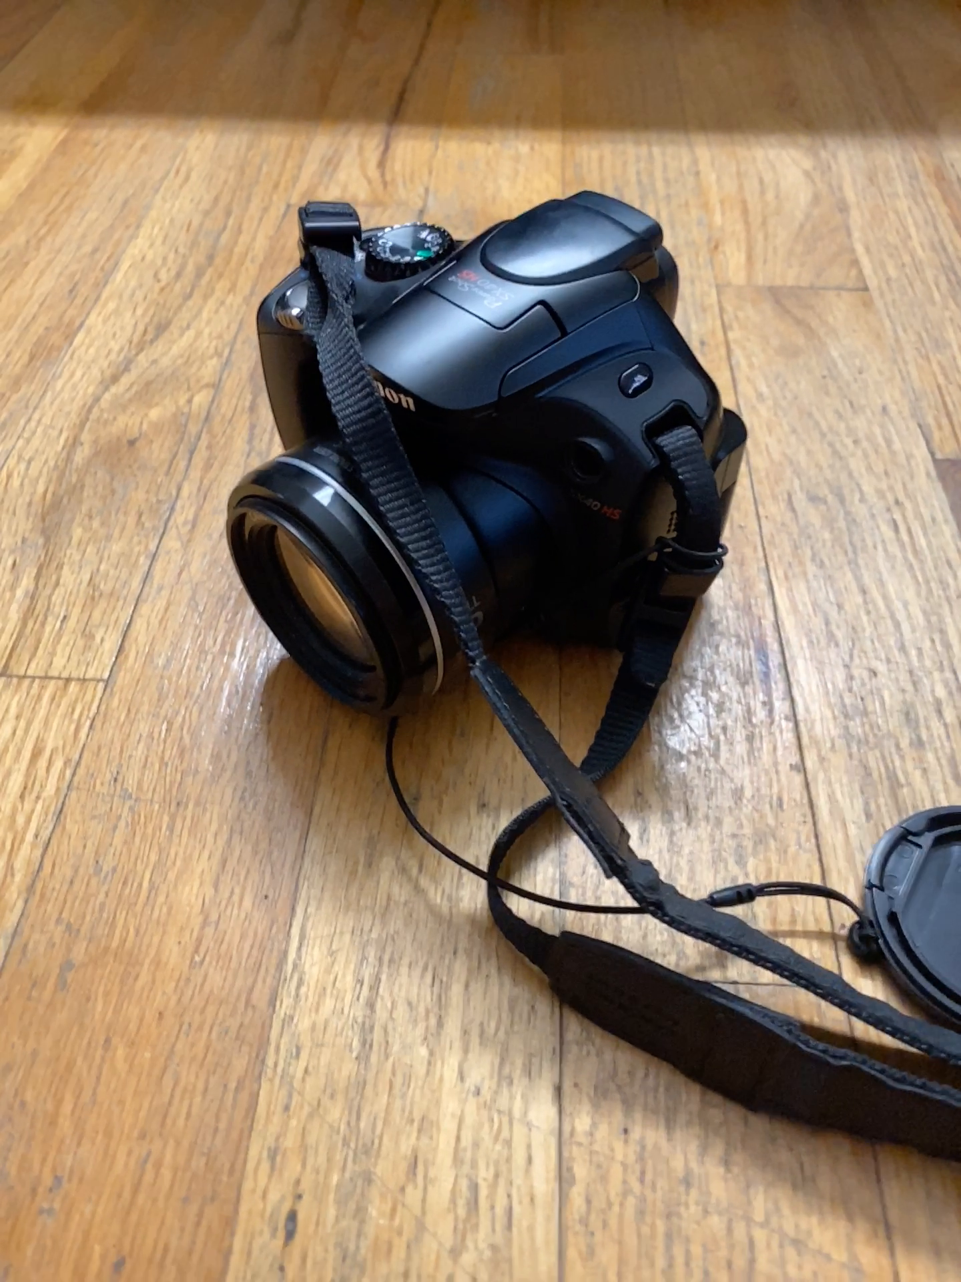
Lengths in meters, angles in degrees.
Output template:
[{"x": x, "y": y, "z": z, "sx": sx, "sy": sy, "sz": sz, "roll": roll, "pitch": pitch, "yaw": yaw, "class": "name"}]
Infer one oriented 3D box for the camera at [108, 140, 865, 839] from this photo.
[{"x": 0.000, "y": -0.047, "z": 0.257, "sx": 0.120, "sy": 0.090, "sz": 0.120, "roll": -34, "pitch": 58, "yaw": -27, "class": "camera"}]
